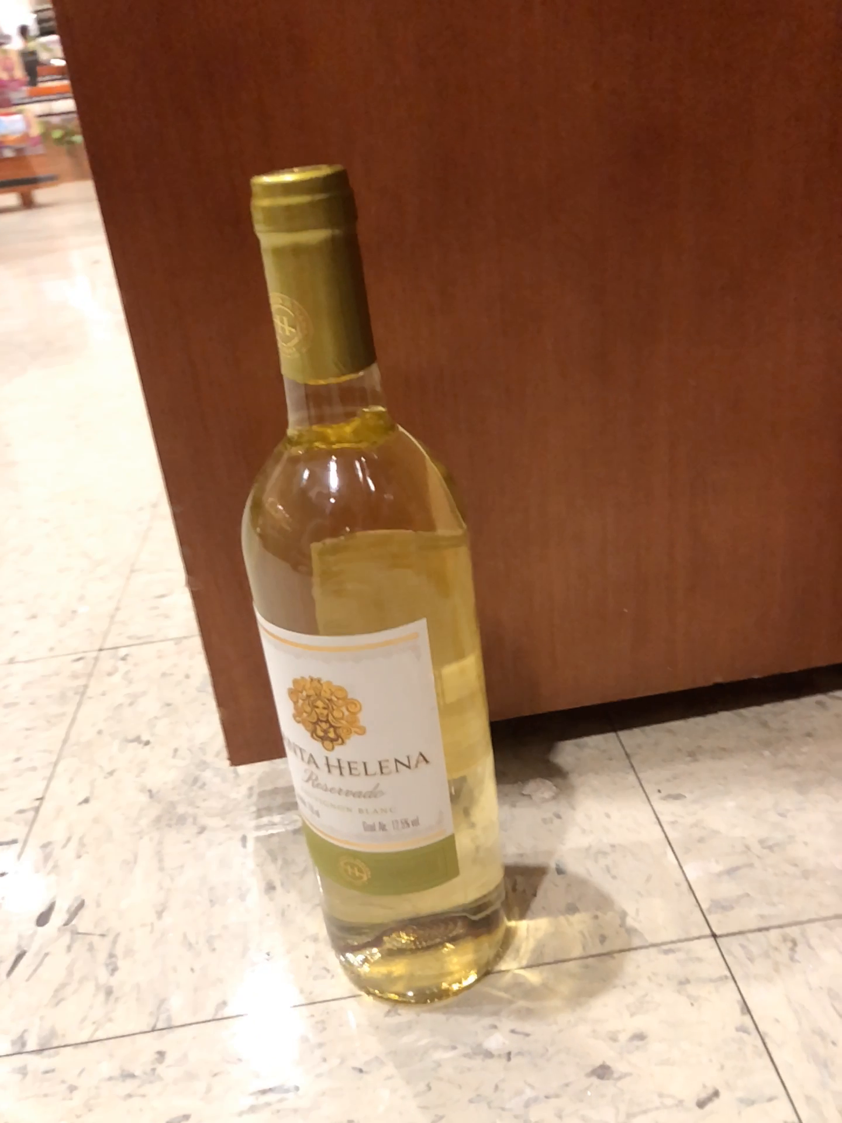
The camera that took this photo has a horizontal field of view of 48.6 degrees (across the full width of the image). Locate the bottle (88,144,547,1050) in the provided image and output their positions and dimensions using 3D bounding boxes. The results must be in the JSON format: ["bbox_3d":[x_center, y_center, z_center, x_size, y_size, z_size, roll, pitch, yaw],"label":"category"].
[{"bbox_3d":[-0.017,0.022,0.304,0.080,0.278,0.070,7,29,28],"label":"bottle"}]
